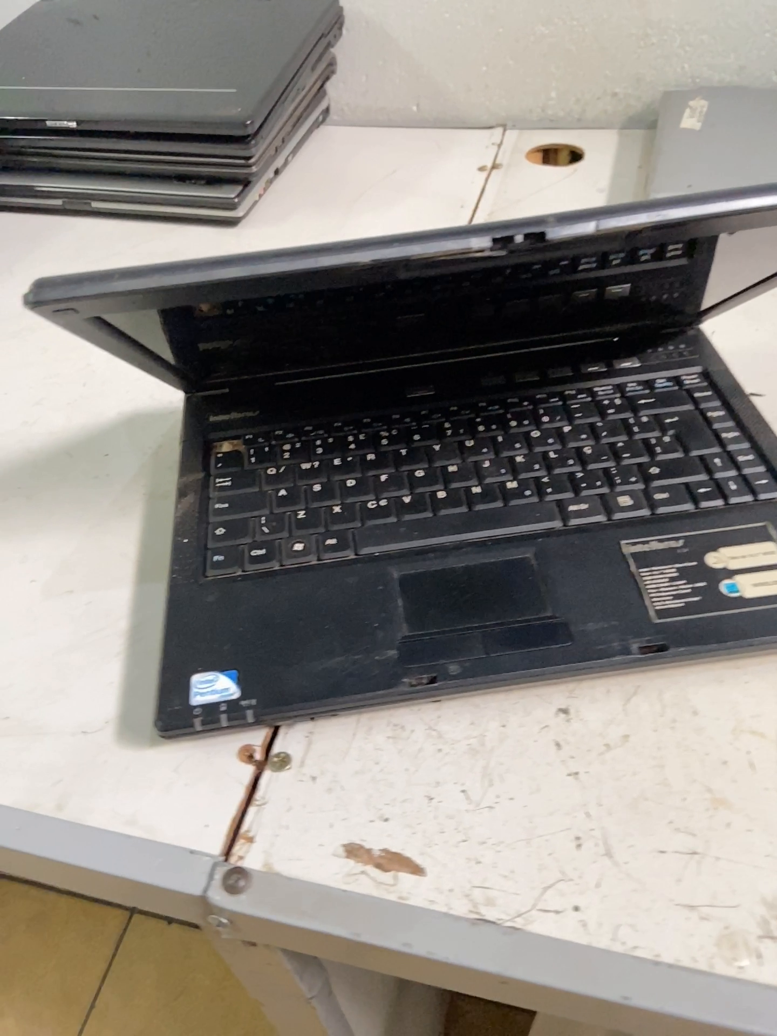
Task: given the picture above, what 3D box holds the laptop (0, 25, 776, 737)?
[{"bbox_3d":[0.045,-0.076,0.362,0.324,0.168,0.236,-8,45,-3],"label":"laptop"}]
